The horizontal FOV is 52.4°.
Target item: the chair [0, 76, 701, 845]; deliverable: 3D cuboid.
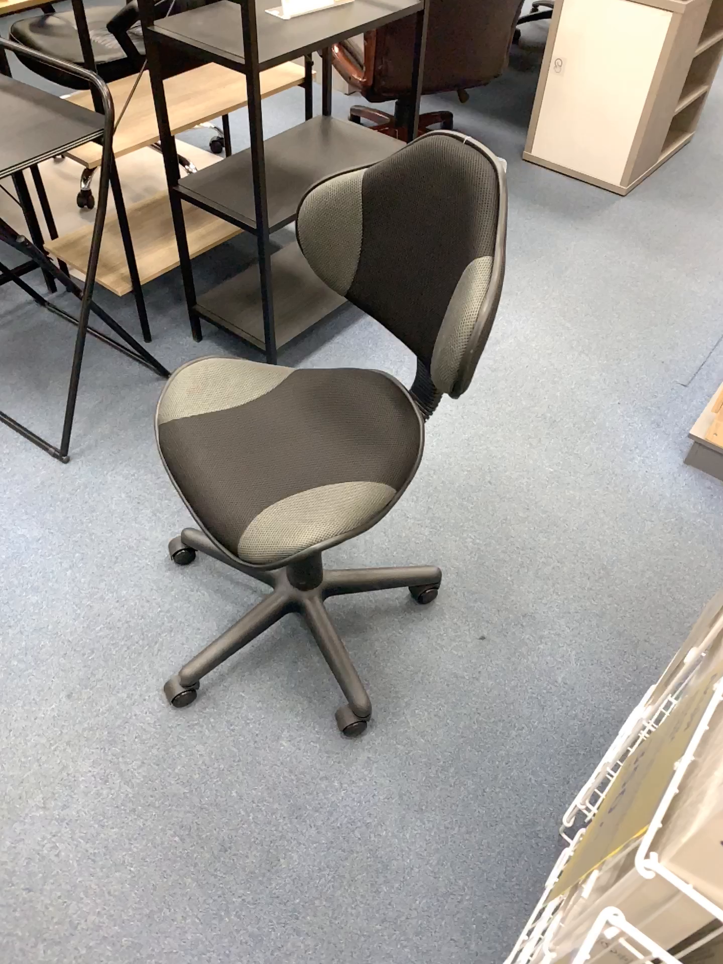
[{"bbox_3d":[-0.088,-0.019,1.227,0.691,0.916,0.632,-25,54,-23],"label":"chair"}]
